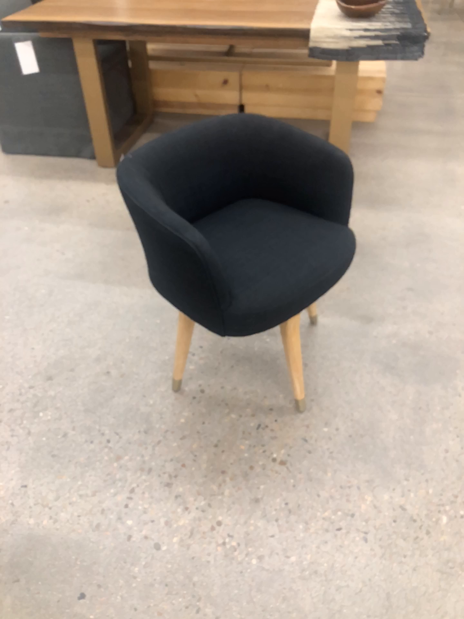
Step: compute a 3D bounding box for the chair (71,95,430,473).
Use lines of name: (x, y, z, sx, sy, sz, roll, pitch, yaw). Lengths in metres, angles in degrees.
chair: (0.040, -0.108, 1.439, 0.603, 0.670, 0.605, -30, 48, -28)
